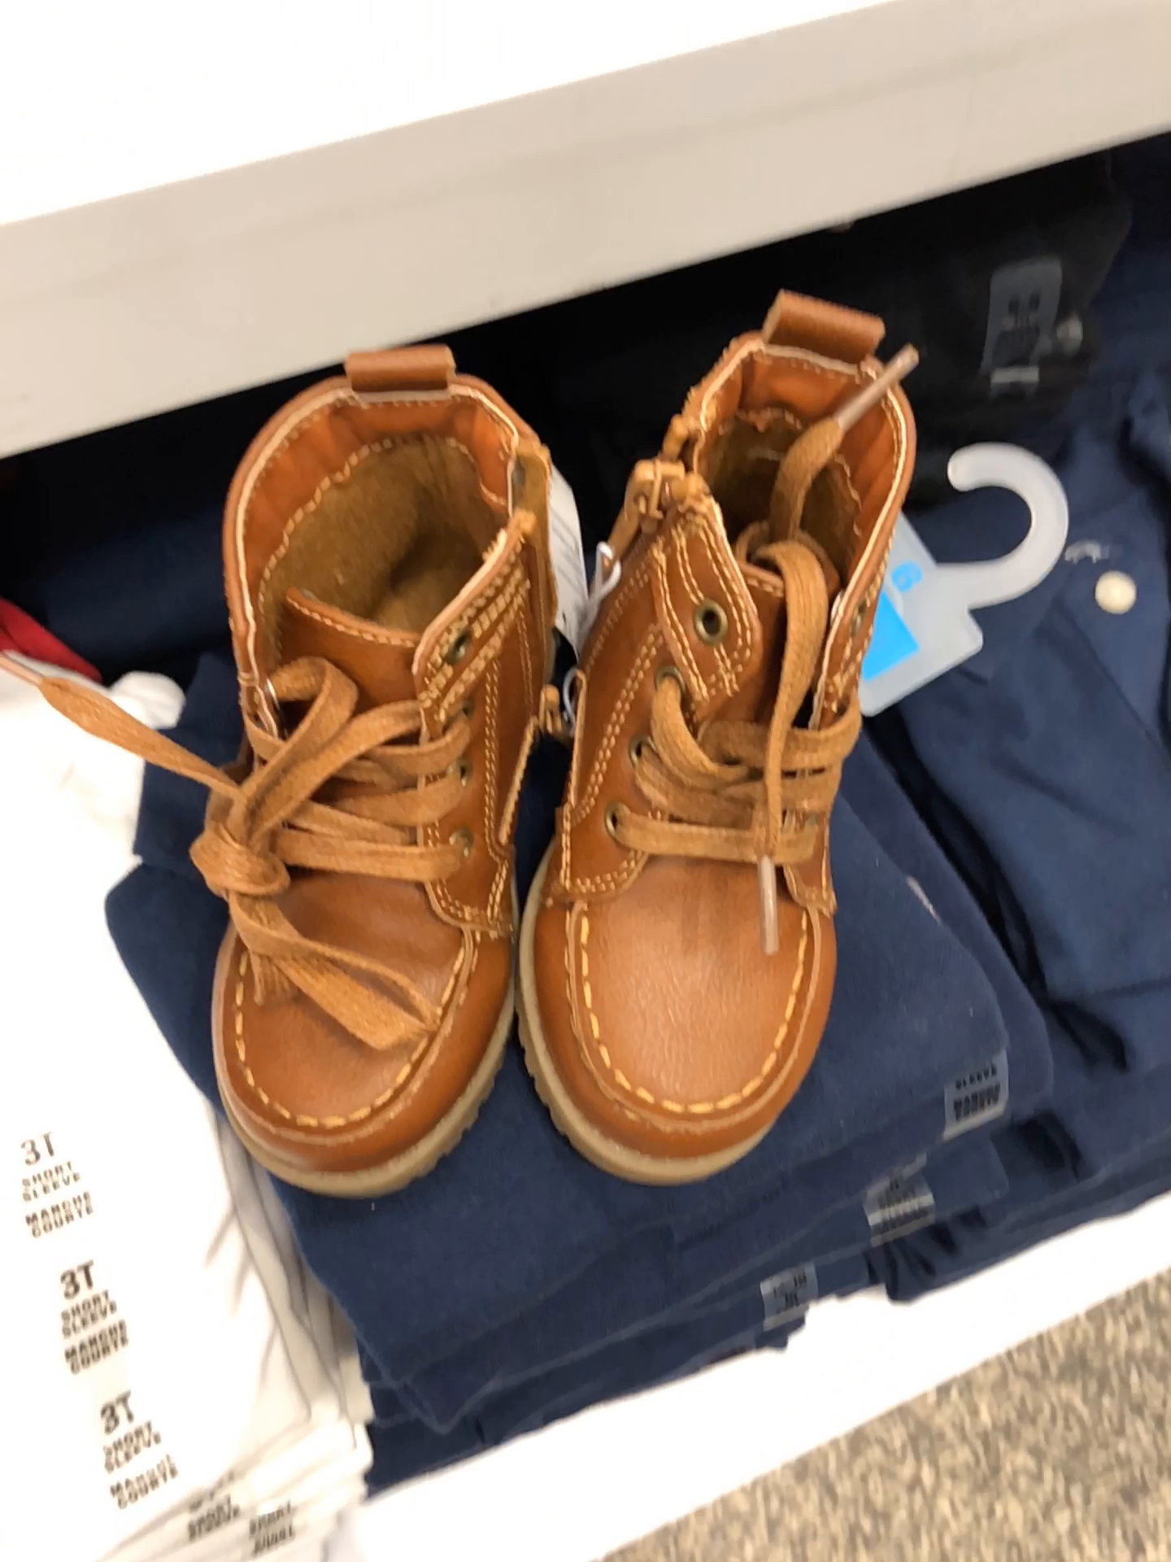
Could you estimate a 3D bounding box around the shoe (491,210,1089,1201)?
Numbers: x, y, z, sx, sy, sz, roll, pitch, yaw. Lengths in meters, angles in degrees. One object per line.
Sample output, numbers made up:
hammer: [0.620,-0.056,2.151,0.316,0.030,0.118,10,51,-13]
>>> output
shoe: [0.032,-0.009,0.260,0.080,0.101,0.161,7,66,-4]

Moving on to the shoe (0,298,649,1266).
shoe: [-0.042,0.004,0.257,0.080,0.101,0.151,10,66,8]
